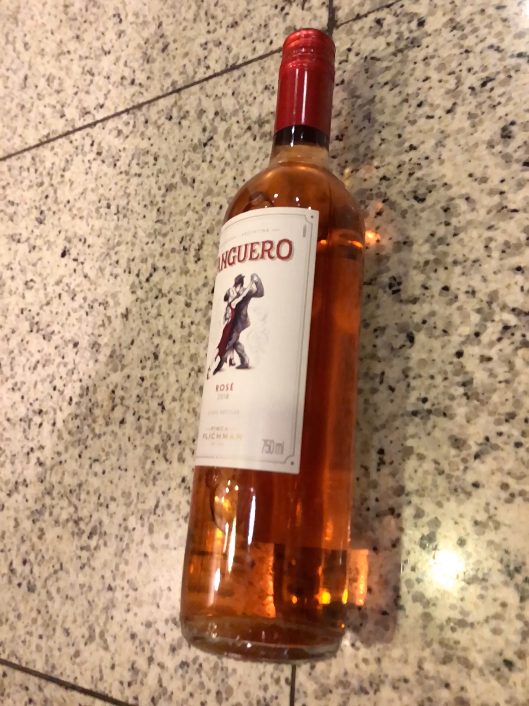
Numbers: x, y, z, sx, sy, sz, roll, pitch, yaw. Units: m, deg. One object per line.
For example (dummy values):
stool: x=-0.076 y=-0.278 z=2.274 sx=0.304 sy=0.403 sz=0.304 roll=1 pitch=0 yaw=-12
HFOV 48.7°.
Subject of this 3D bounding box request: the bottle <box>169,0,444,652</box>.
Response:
bottle: x=0.029 y=-0.047 z=0.279 sx=0.090 sy=0.060 sz=0.320 roll=-4 pitch=74 yaw=33
